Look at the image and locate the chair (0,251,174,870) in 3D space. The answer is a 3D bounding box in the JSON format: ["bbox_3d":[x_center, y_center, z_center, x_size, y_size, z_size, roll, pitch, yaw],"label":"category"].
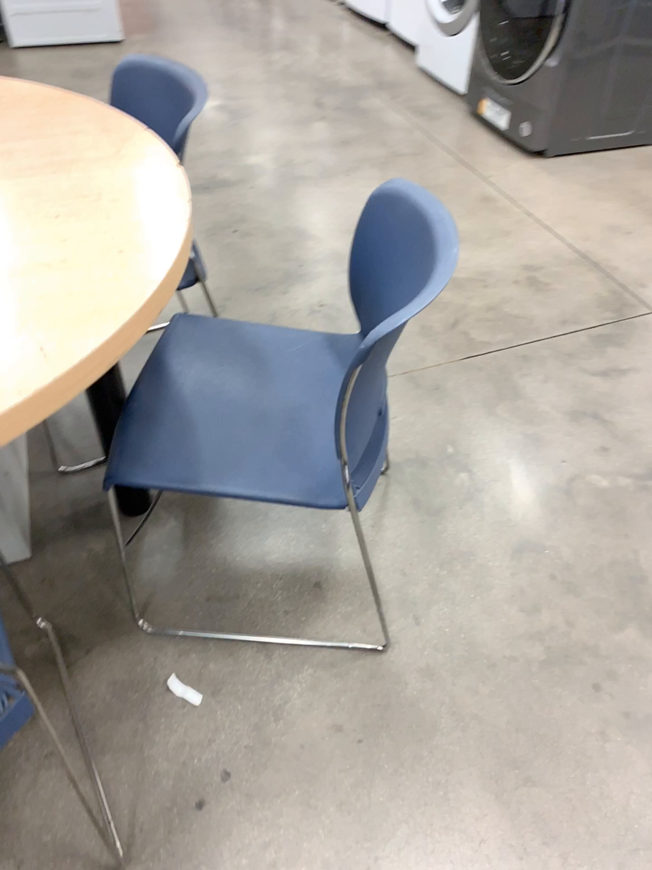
[{"bbox_3d":[-0.567,0.290,0.810,0.484,0.730,0.573,-22,50,-23],"label":"chair"}]

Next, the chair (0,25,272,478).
[{"bbox_3d":[-0.474,-0.407,1.483,0.532,0.749,0.485,-21,49,-22],"label":"chair"}]

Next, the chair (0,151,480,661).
[{"bbox_3d":[-0.104,-0.017,1.185,0.551,0.749,0.486,4,45,0],"label":"chair"}]
